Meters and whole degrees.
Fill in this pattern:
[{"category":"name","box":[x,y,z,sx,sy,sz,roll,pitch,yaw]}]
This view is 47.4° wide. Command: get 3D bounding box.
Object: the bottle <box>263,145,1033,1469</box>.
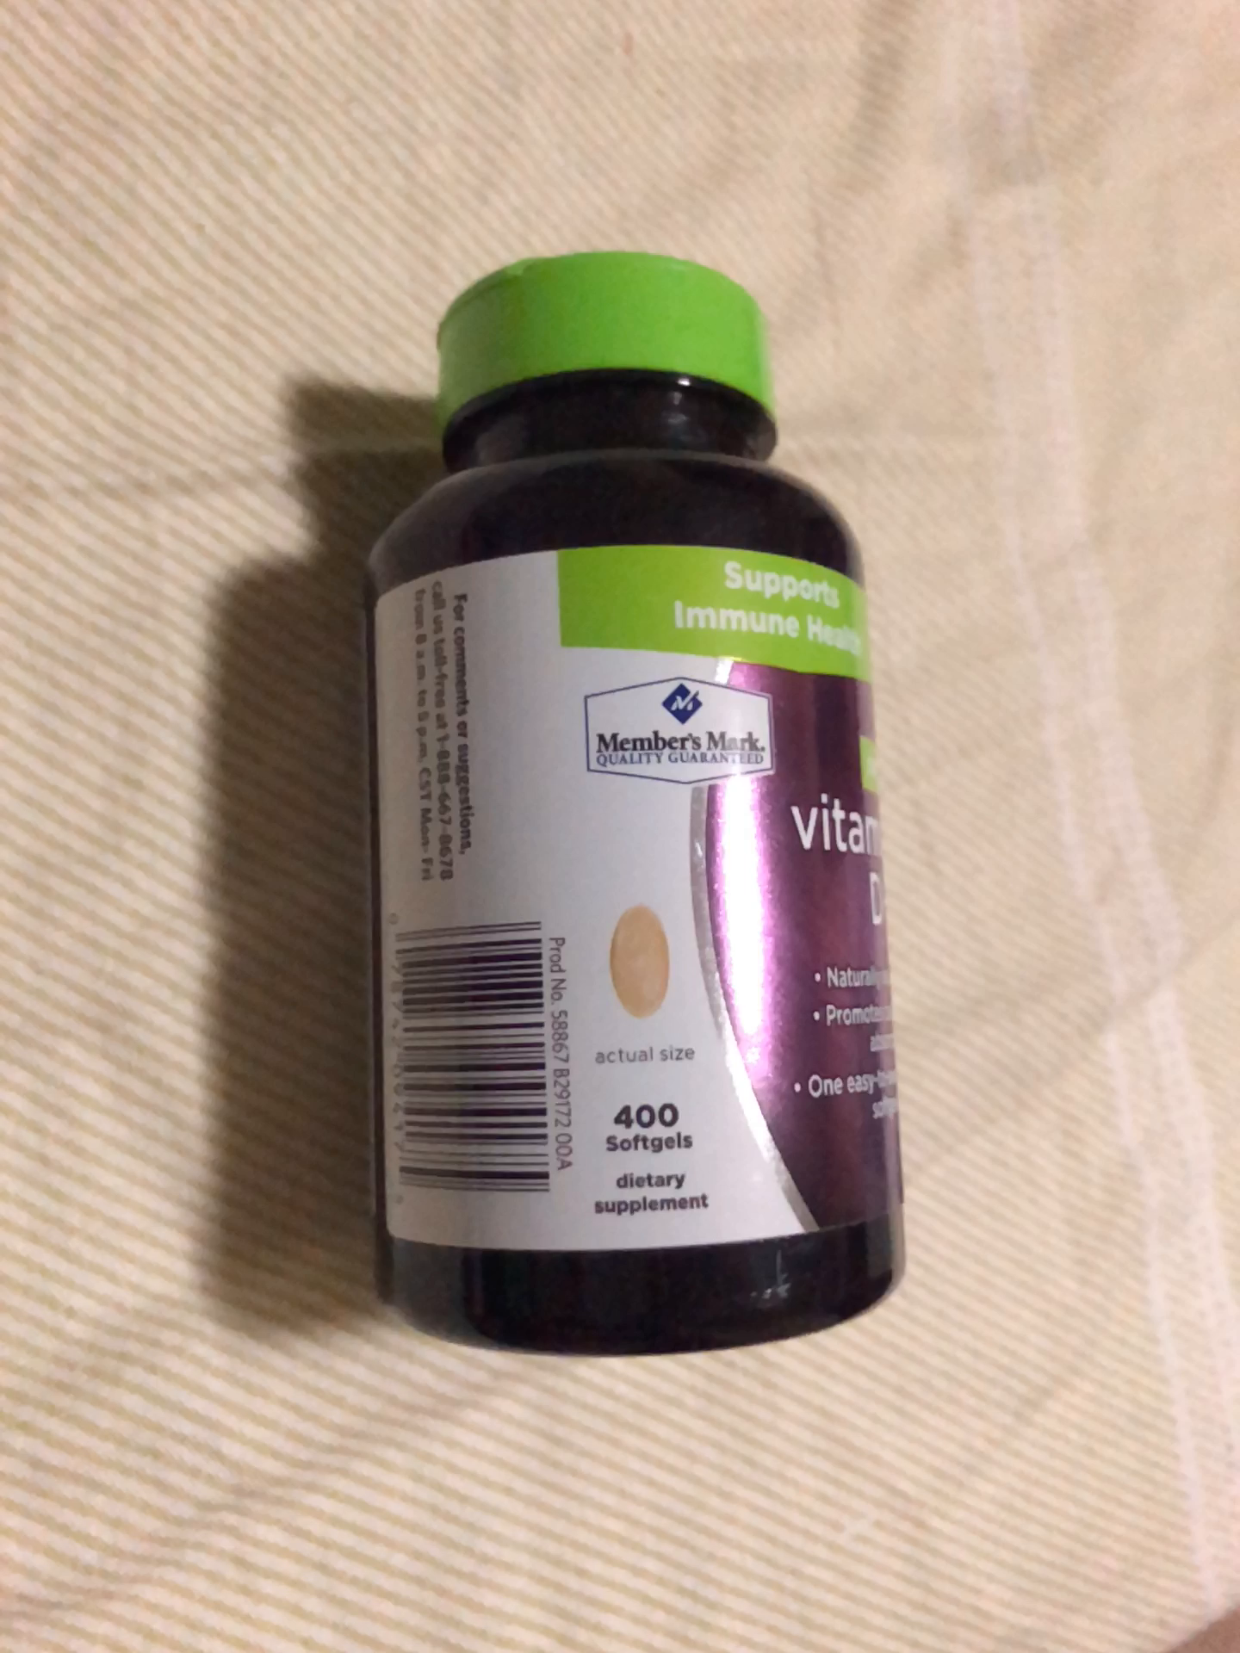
[{"category":"bottle","box":[0.001,0.000,0.159,0.060,0.060,0.110,3,84,-38]}]
